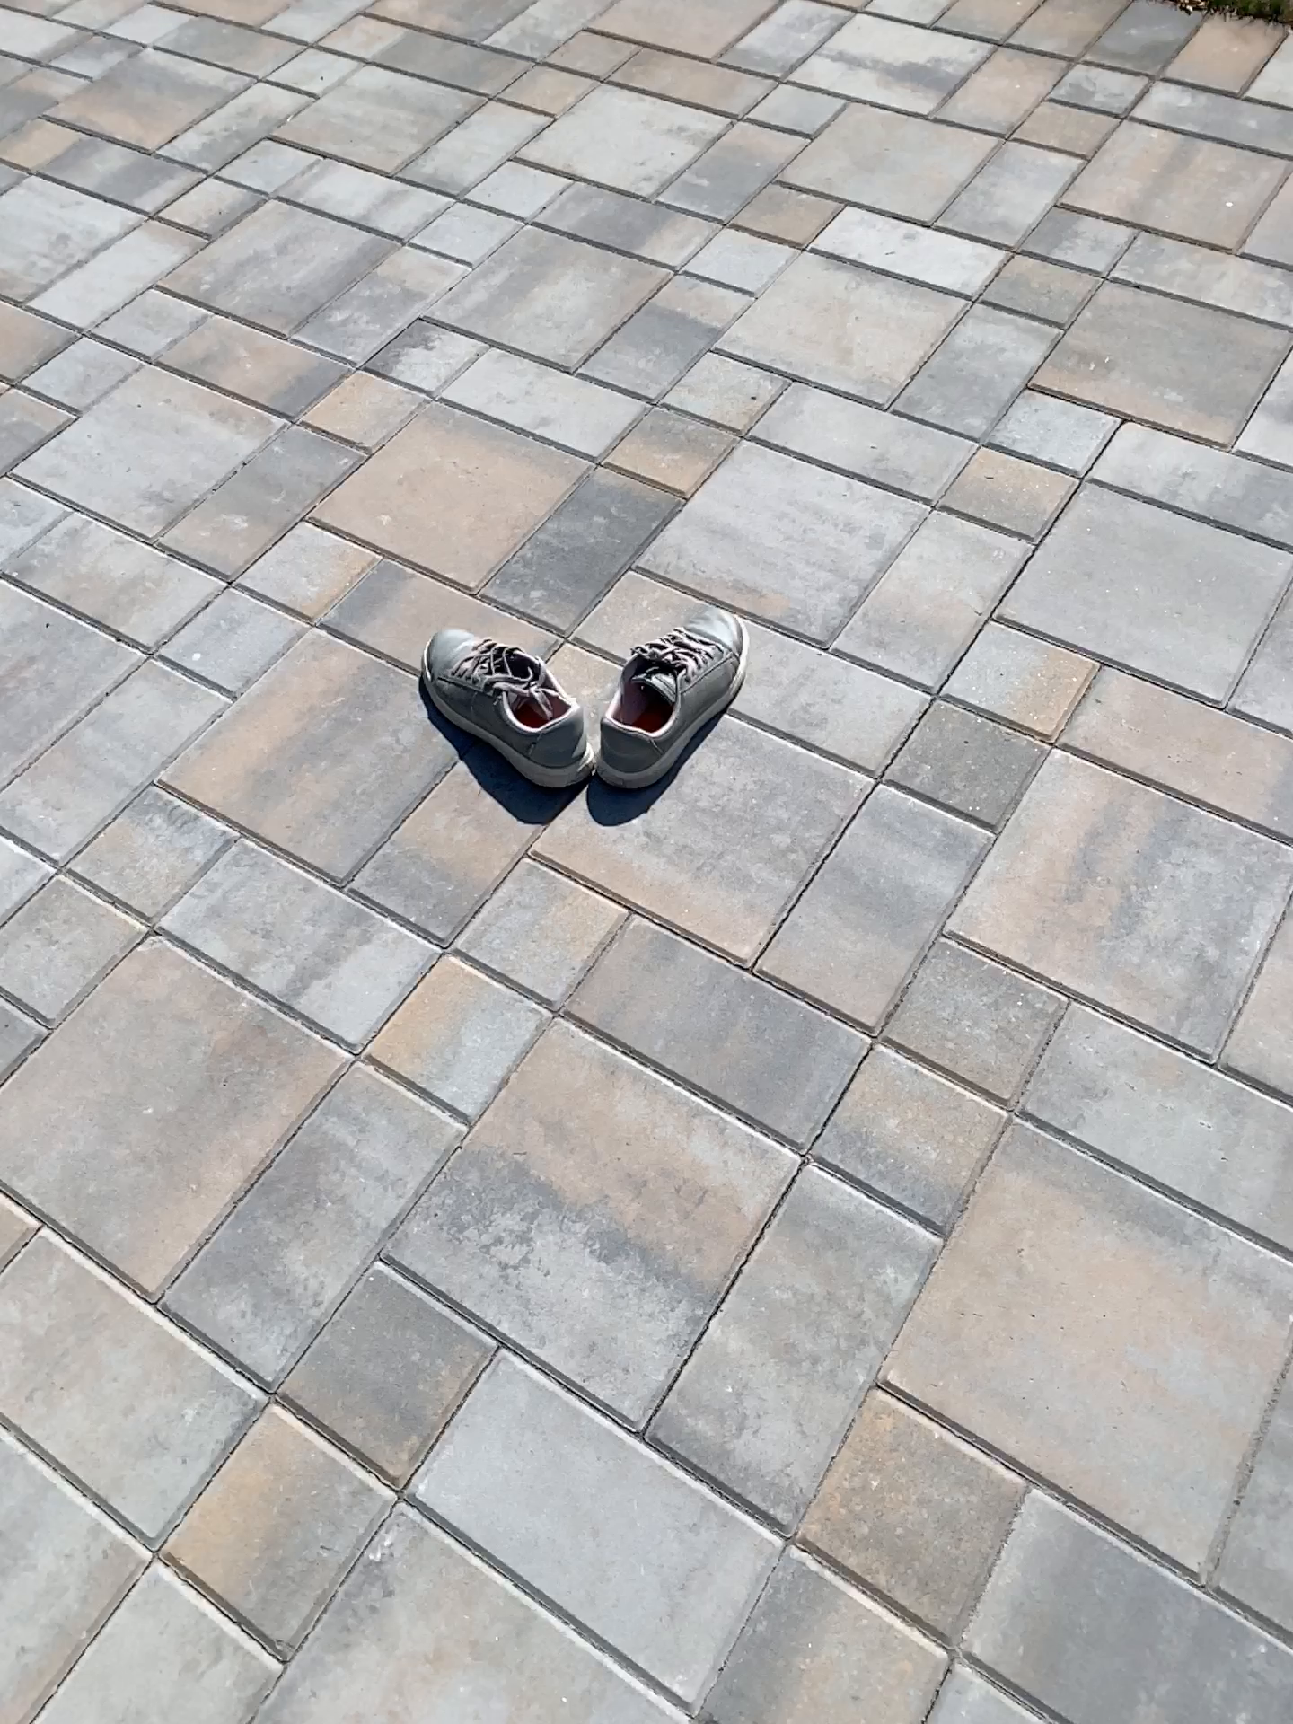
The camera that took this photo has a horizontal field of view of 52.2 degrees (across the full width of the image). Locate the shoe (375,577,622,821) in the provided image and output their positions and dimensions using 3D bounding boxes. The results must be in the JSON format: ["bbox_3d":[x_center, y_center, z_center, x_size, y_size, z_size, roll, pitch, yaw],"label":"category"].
[{"bbox_3d":[-0.180,-0.202,1.606,0.120,0.110,0.301,-40,63,-21],"label":"shoe"}]

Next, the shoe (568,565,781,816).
[{"bbox_3d":[0.039,-0.214,1.604,0.120,0.090,0.300,25,61,18],"label":"shoe"}]
